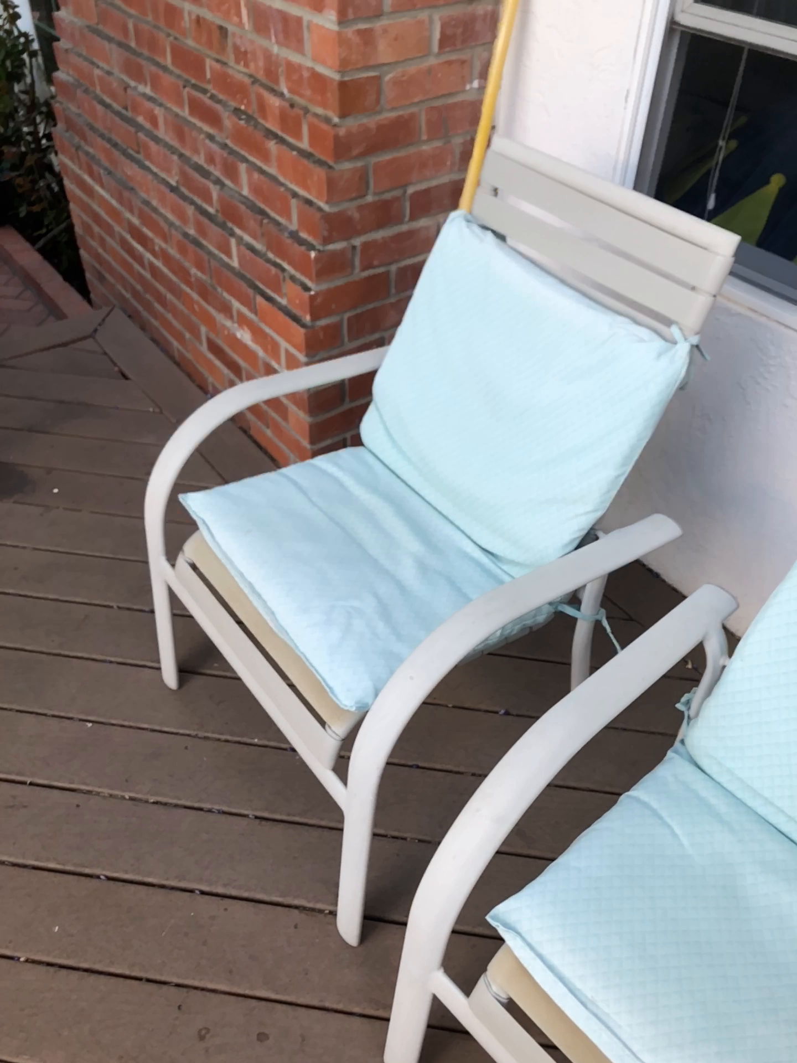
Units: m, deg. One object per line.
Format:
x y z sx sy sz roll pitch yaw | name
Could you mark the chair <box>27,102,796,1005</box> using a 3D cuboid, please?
0.115 -0.017 1.491 0.972 0.994 0.743 -27 49 -28 | chair
